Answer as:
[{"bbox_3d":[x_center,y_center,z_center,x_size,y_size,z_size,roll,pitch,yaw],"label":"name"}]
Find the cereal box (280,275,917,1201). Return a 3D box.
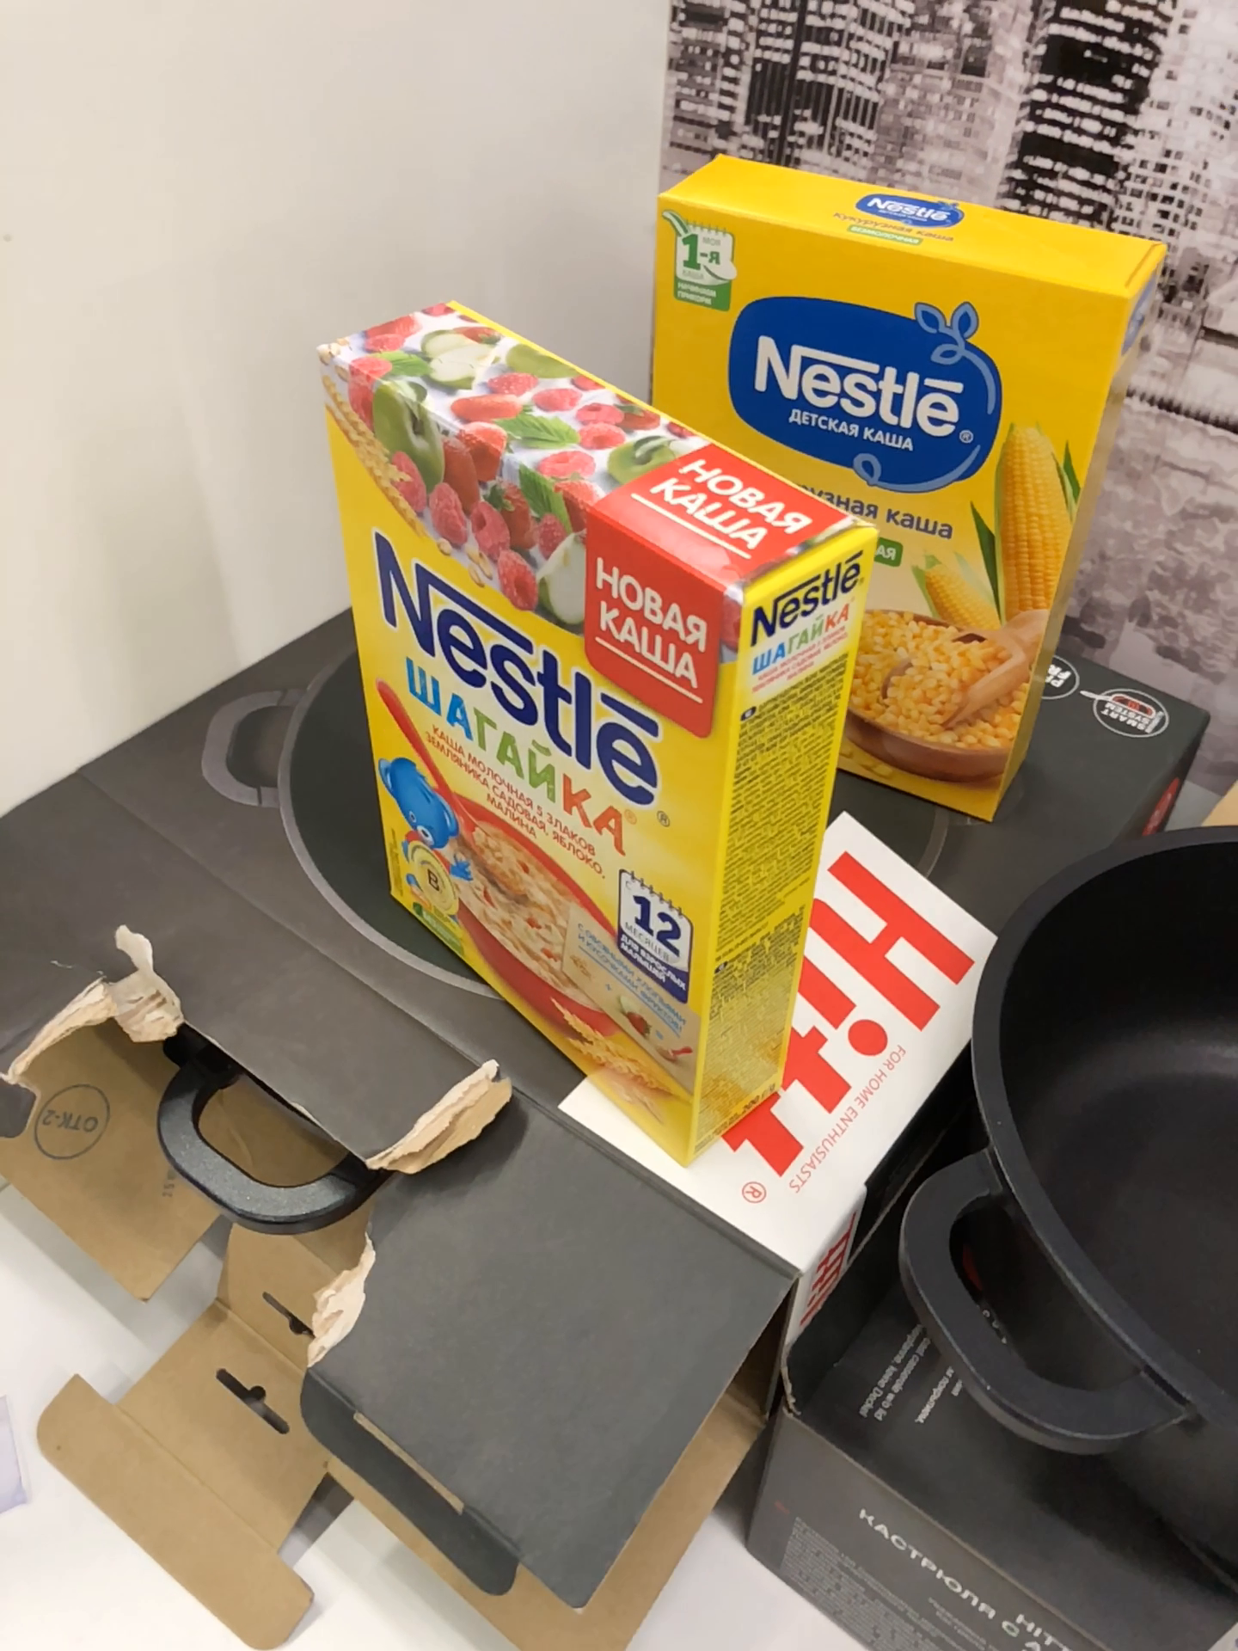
[{"bbox_3d":[-0.014,-0.021,0.373,0.050,0.199,0.160,-30,51,-30],"label":"cereal box"}]

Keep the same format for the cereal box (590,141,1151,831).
[{"bbox_3d":[0.072,-0.113,0.477,0.160,0.199,0.050,21,46,20],"label":"cereal box"}]
